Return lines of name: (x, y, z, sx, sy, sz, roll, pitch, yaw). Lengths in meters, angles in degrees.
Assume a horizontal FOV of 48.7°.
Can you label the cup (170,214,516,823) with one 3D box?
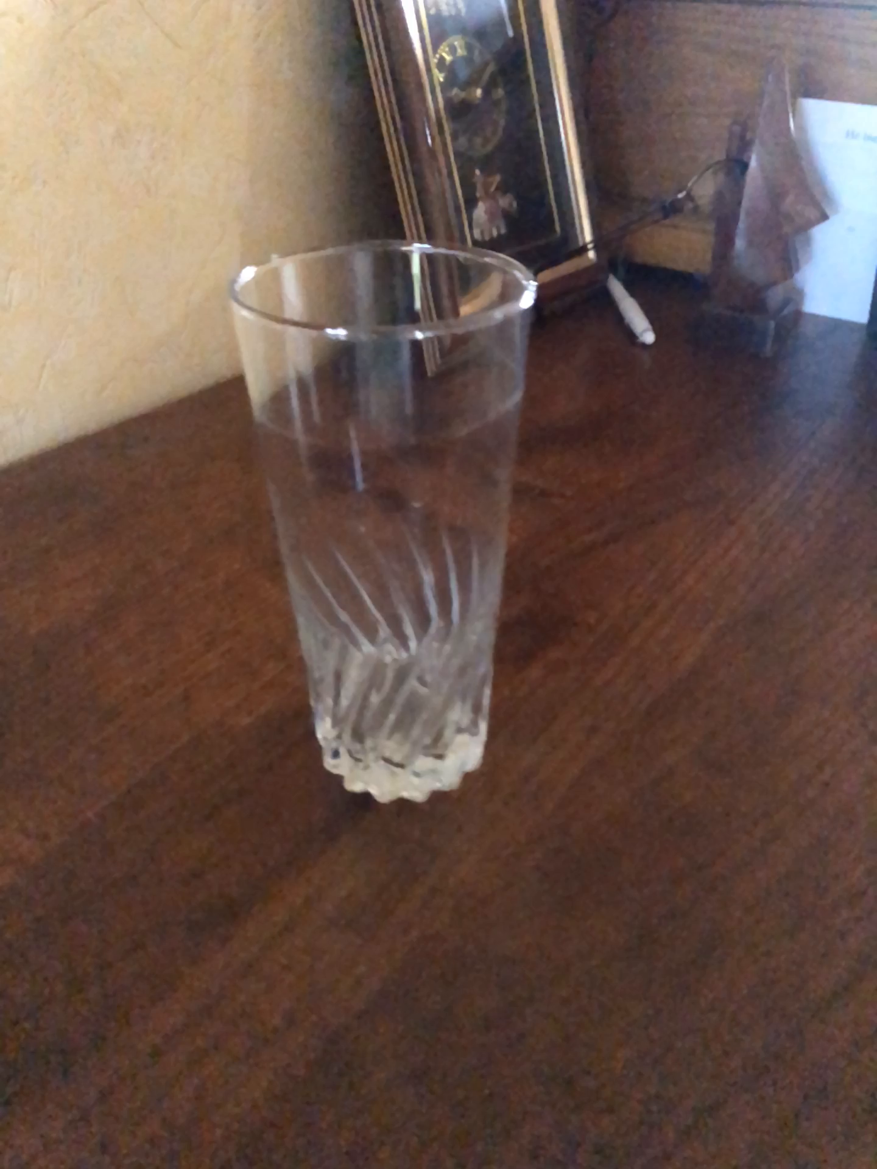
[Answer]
cup: (-0.017, -0.015, 0.266, 0.070, 0.149, 0.070, 0, 33, 0)
